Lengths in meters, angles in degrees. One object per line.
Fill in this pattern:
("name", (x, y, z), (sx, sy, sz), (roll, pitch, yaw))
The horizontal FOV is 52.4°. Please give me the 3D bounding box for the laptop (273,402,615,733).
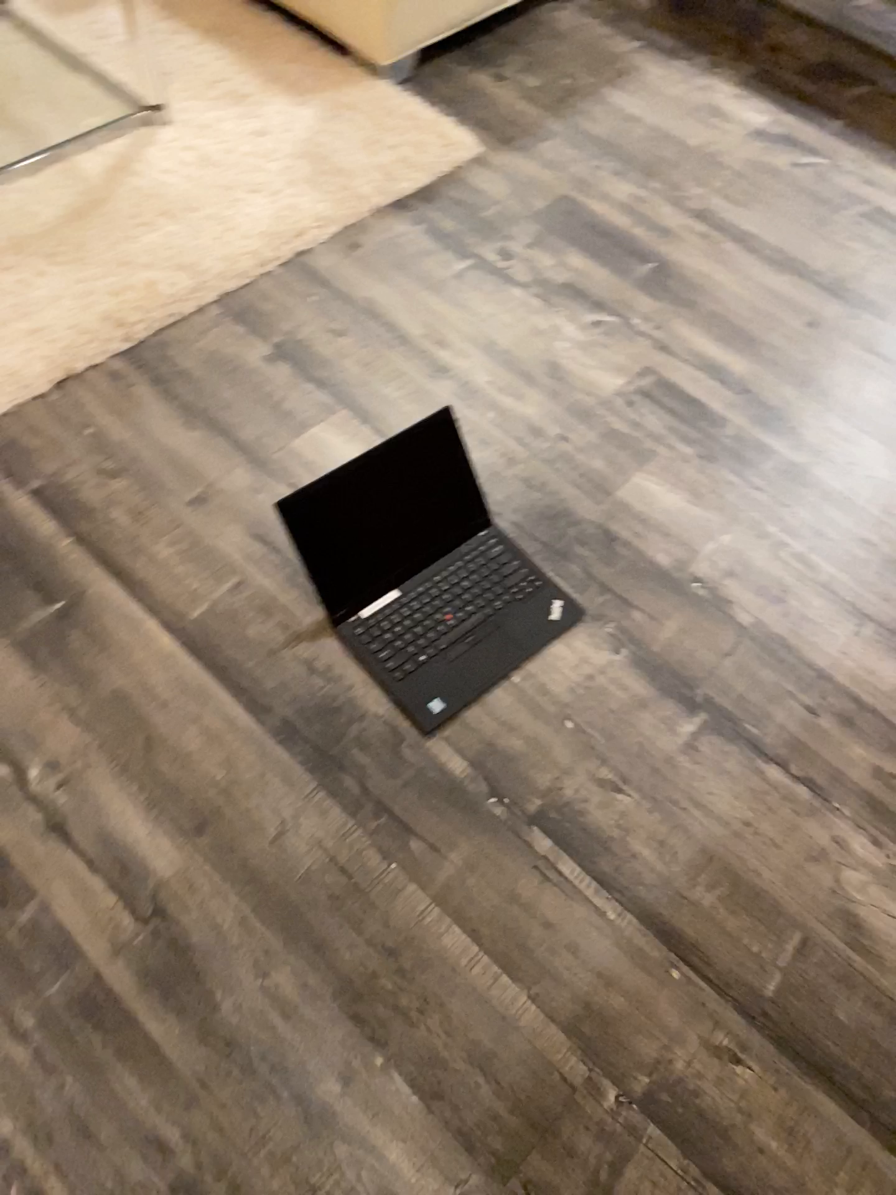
("laptop", (-0.010, -0.055, 1.325), (0.320, 0.149, 0.356), (-34, 69, -25))
